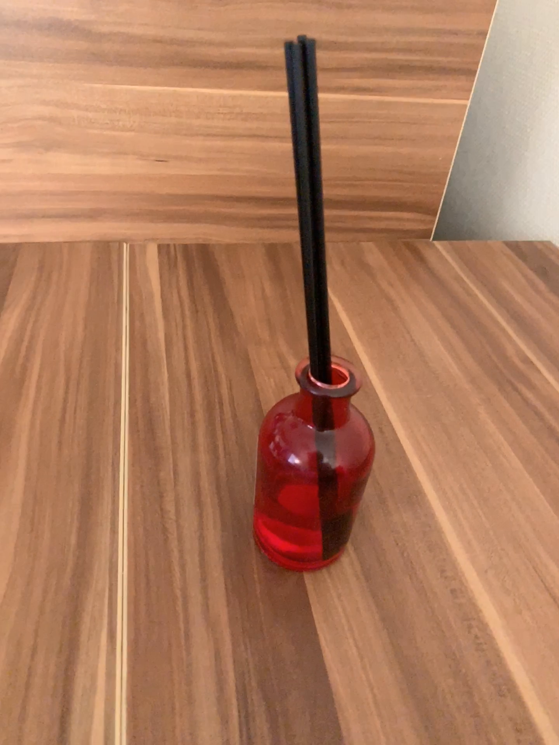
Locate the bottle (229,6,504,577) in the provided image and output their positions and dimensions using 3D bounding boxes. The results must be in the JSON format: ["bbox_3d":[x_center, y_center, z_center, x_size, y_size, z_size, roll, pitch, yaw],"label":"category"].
[{"bbox_3d":[0.014,-0.005,0.238,0.060,0.239,0.050,0,40,-8],"label":"bottle"}]
